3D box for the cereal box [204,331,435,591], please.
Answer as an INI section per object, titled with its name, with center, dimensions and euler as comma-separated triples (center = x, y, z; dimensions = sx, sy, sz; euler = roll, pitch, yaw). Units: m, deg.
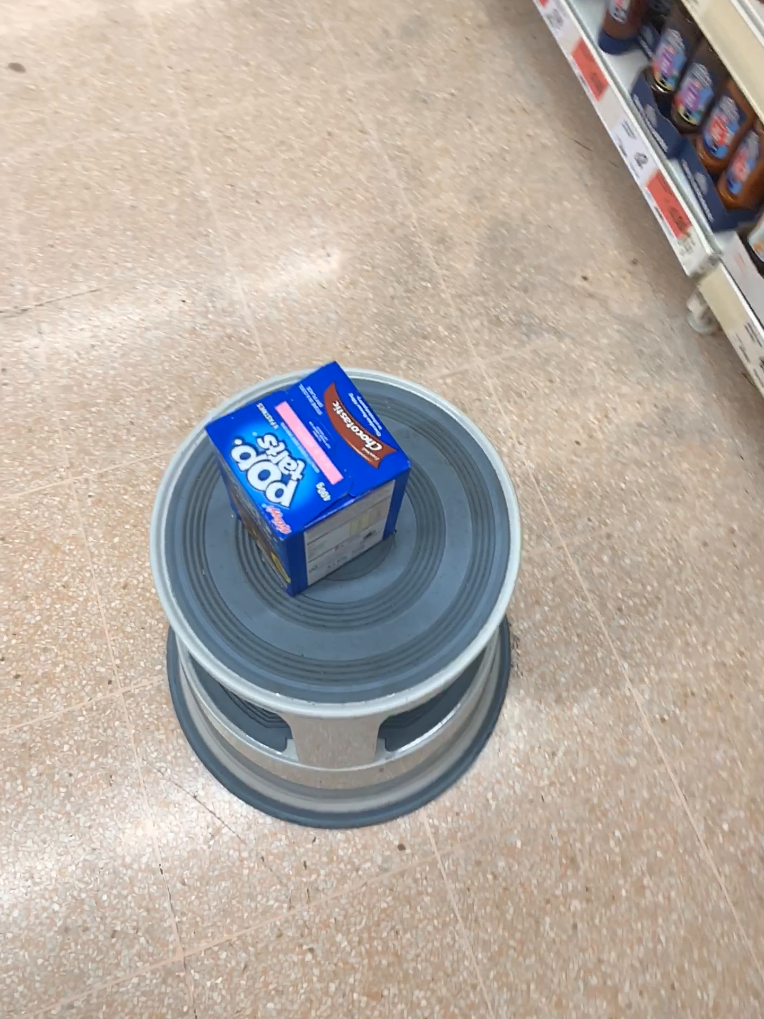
[cereal box]
center = -0.042, -0.028, 0.560
dimensions = 0.110, 0.139, 0.100
euler = -32, 74, -12
